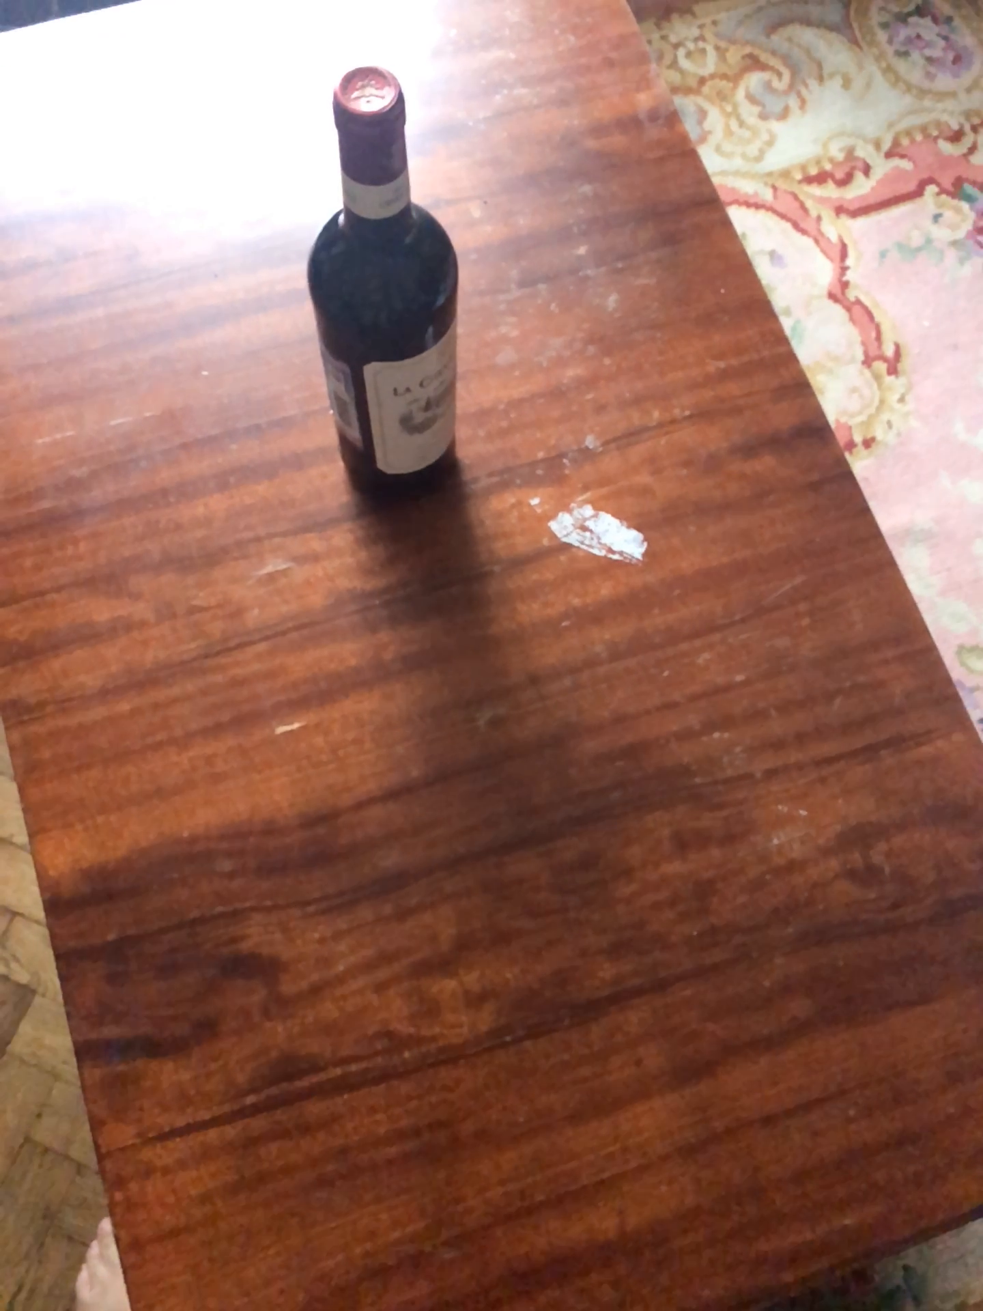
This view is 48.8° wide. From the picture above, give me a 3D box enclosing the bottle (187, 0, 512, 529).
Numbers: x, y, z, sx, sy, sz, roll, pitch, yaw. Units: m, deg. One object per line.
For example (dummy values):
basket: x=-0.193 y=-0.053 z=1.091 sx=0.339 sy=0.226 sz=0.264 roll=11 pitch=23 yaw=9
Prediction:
bottle: x=-0.056 y=-0.176 z=0.548 sx=0.090 sy=0.269 sz=0.090 roll=0 pitch=73 yaw=-1
